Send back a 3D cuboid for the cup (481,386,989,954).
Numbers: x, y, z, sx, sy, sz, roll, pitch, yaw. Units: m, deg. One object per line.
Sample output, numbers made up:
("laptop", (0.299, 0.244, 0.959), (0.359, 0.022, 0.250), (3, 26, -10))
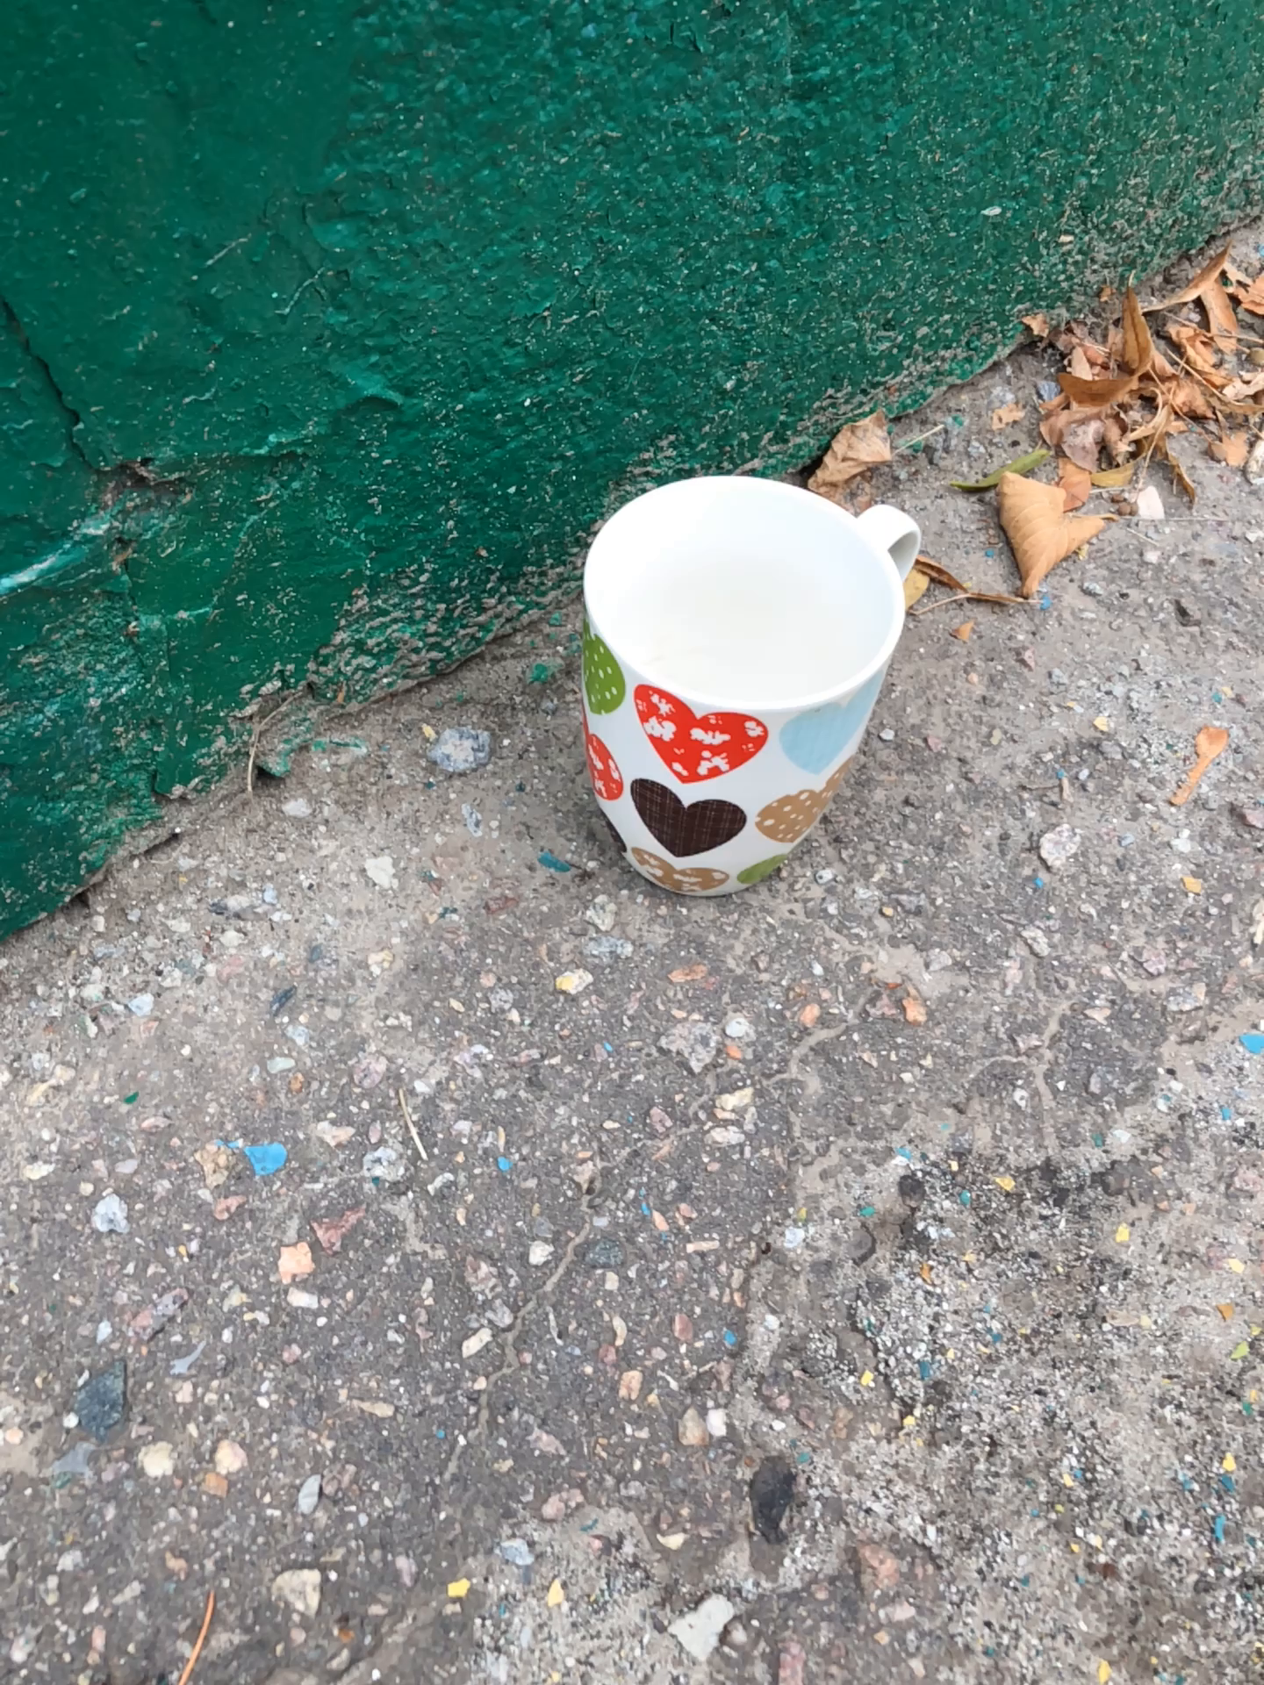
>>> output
("cup", (0.027, -0.051, 0.385), (0.082, 0.079, 0.116), (30, 54, 16))
